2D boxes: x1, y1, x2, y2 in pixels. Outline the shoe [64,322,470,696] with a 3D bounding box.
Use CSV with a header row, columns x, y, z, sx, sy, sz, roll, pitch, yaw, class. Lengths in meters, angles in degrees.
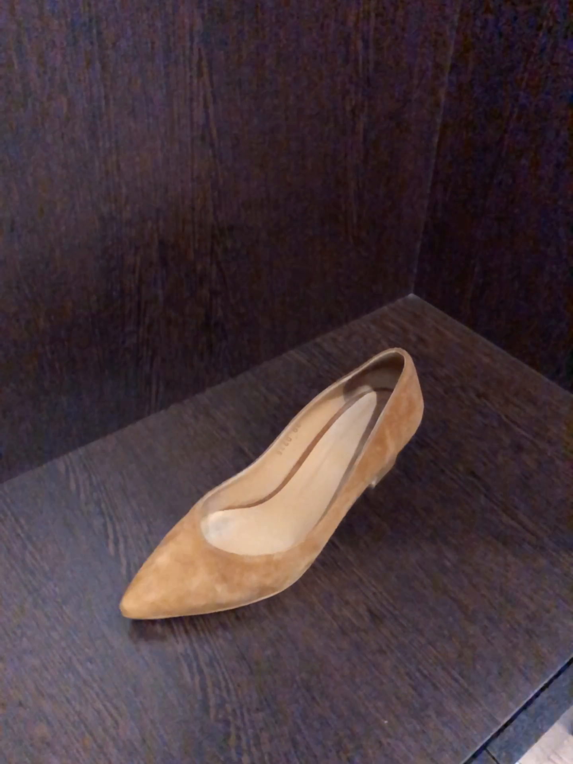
x,y,z,sx,sy,sz,roll,pitch,yaw,class
0.001,0.071,0.444,0.270,0.100,0.090,-30,50,-30,shoe
